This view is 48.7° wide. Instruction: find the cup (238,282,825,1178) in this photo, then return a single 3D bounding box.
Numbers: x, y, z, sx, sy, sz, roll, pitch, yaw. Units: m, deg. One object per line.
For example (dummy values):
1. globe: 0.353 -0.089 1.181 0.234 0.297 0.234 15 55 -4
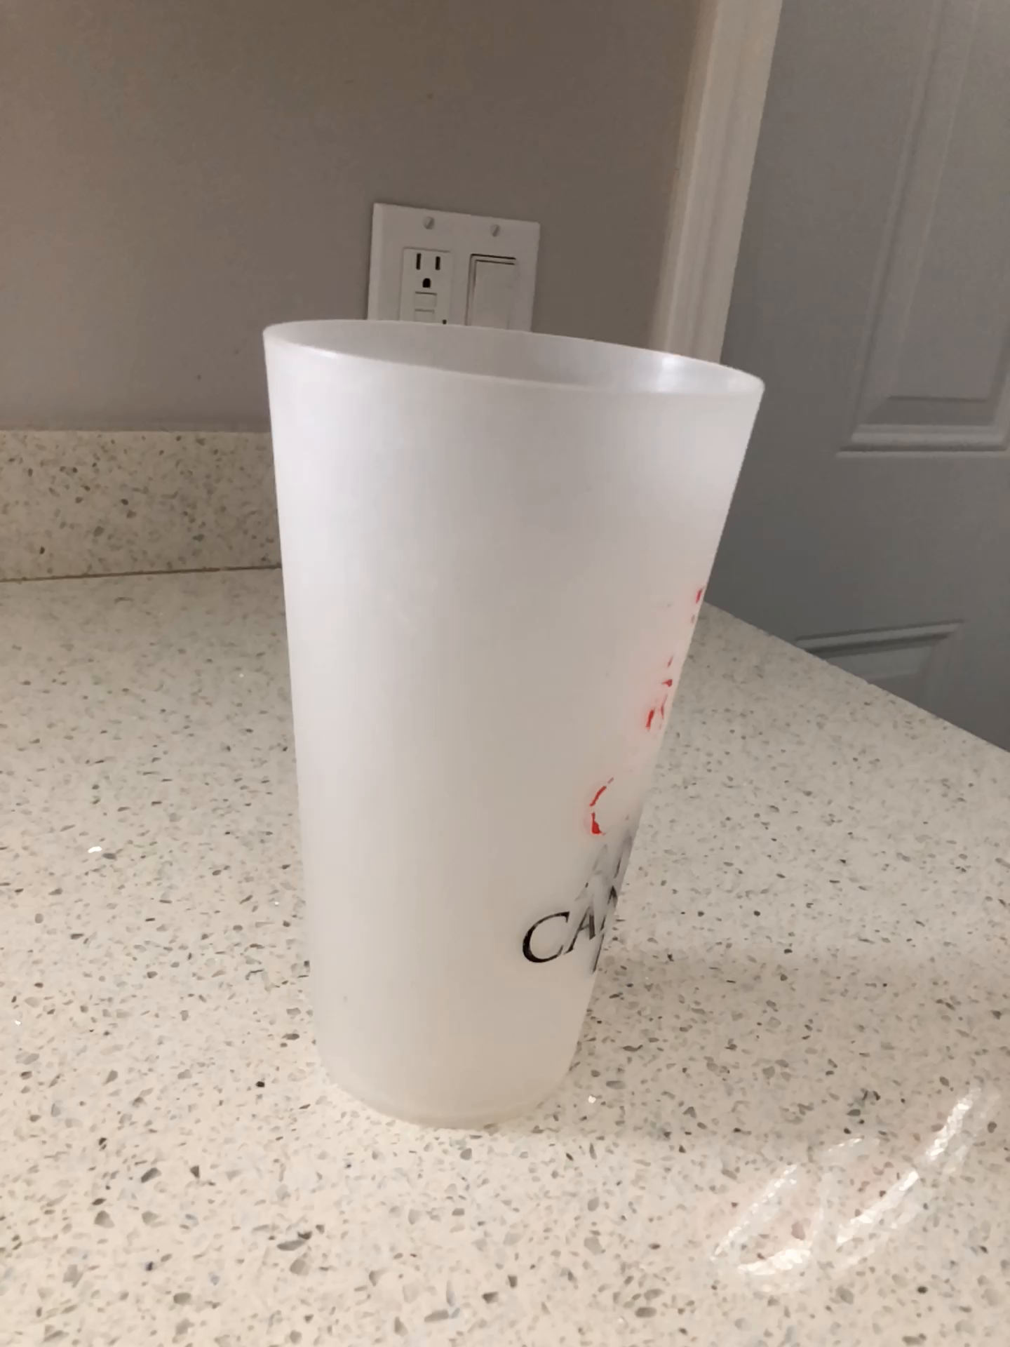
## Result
1. cup: 0.003 0.005 0.254 0.093 0.166 0.096 5 22 -2
